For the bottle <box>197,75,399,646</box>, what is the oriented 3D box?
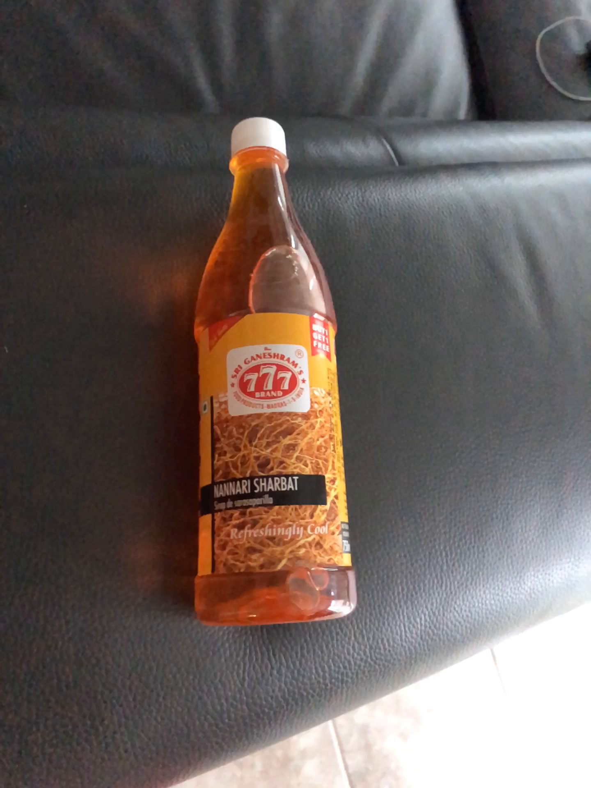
[{"bbox_3d":[-0.009,-0.024,0.341,0.080,0.070,0.280,-1,72,-7],"label":"bottle"}]
